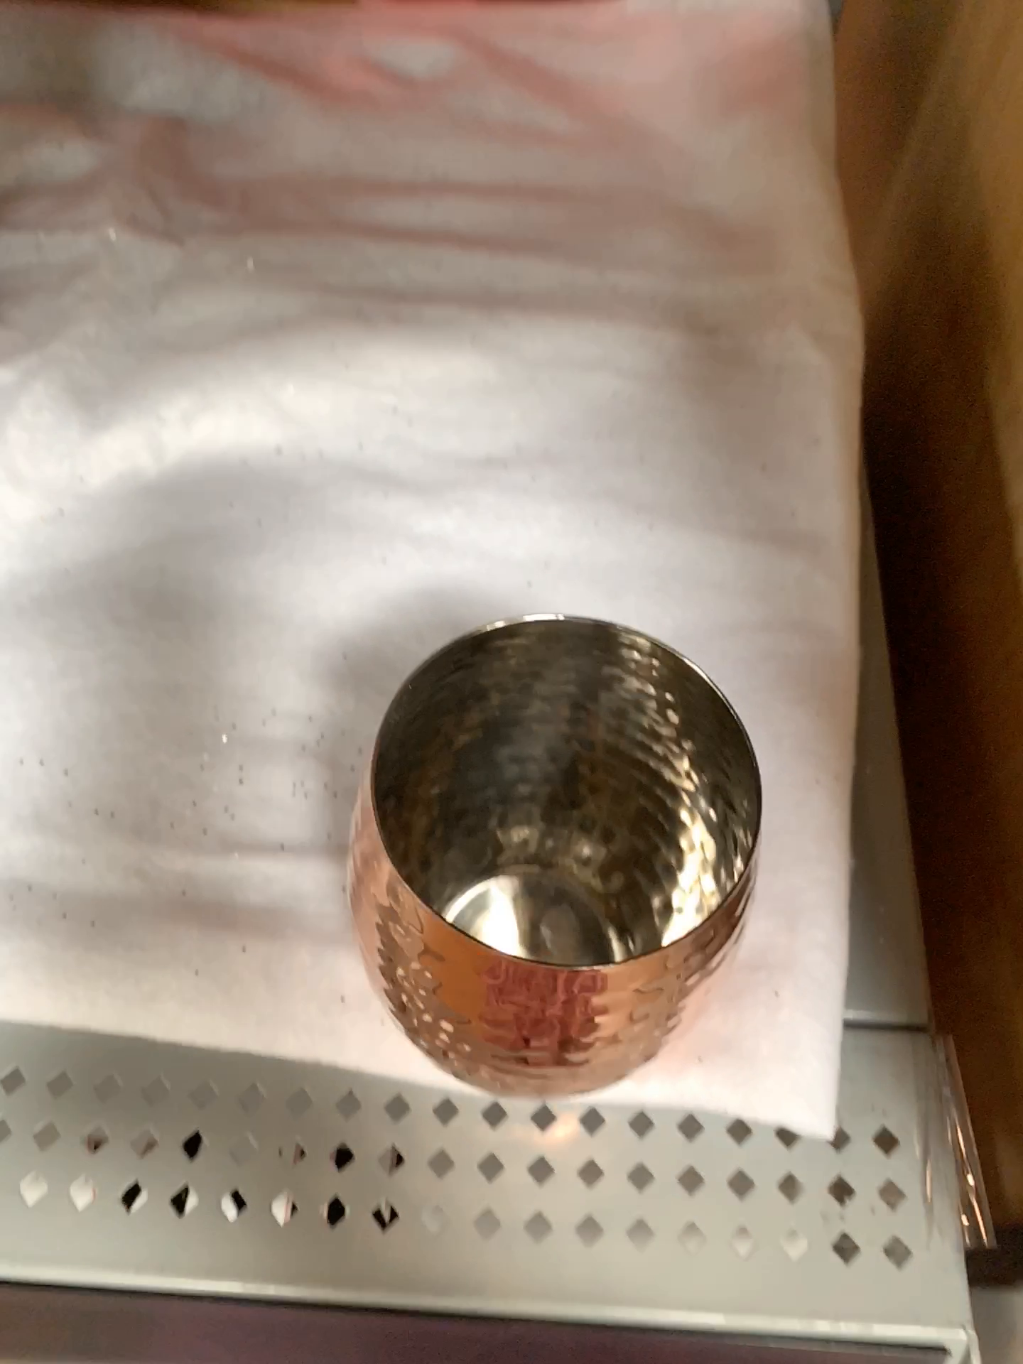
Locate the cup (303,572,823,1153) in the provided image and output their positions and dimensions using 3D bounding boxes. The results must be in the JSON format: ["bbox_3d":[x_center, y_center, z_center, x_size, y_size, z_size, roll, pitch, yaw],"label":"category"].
[{"bbox_3d":[0.013,0.044,0.226,0.078,0.104,0.080,0,61,0],"label":"cup"}]
